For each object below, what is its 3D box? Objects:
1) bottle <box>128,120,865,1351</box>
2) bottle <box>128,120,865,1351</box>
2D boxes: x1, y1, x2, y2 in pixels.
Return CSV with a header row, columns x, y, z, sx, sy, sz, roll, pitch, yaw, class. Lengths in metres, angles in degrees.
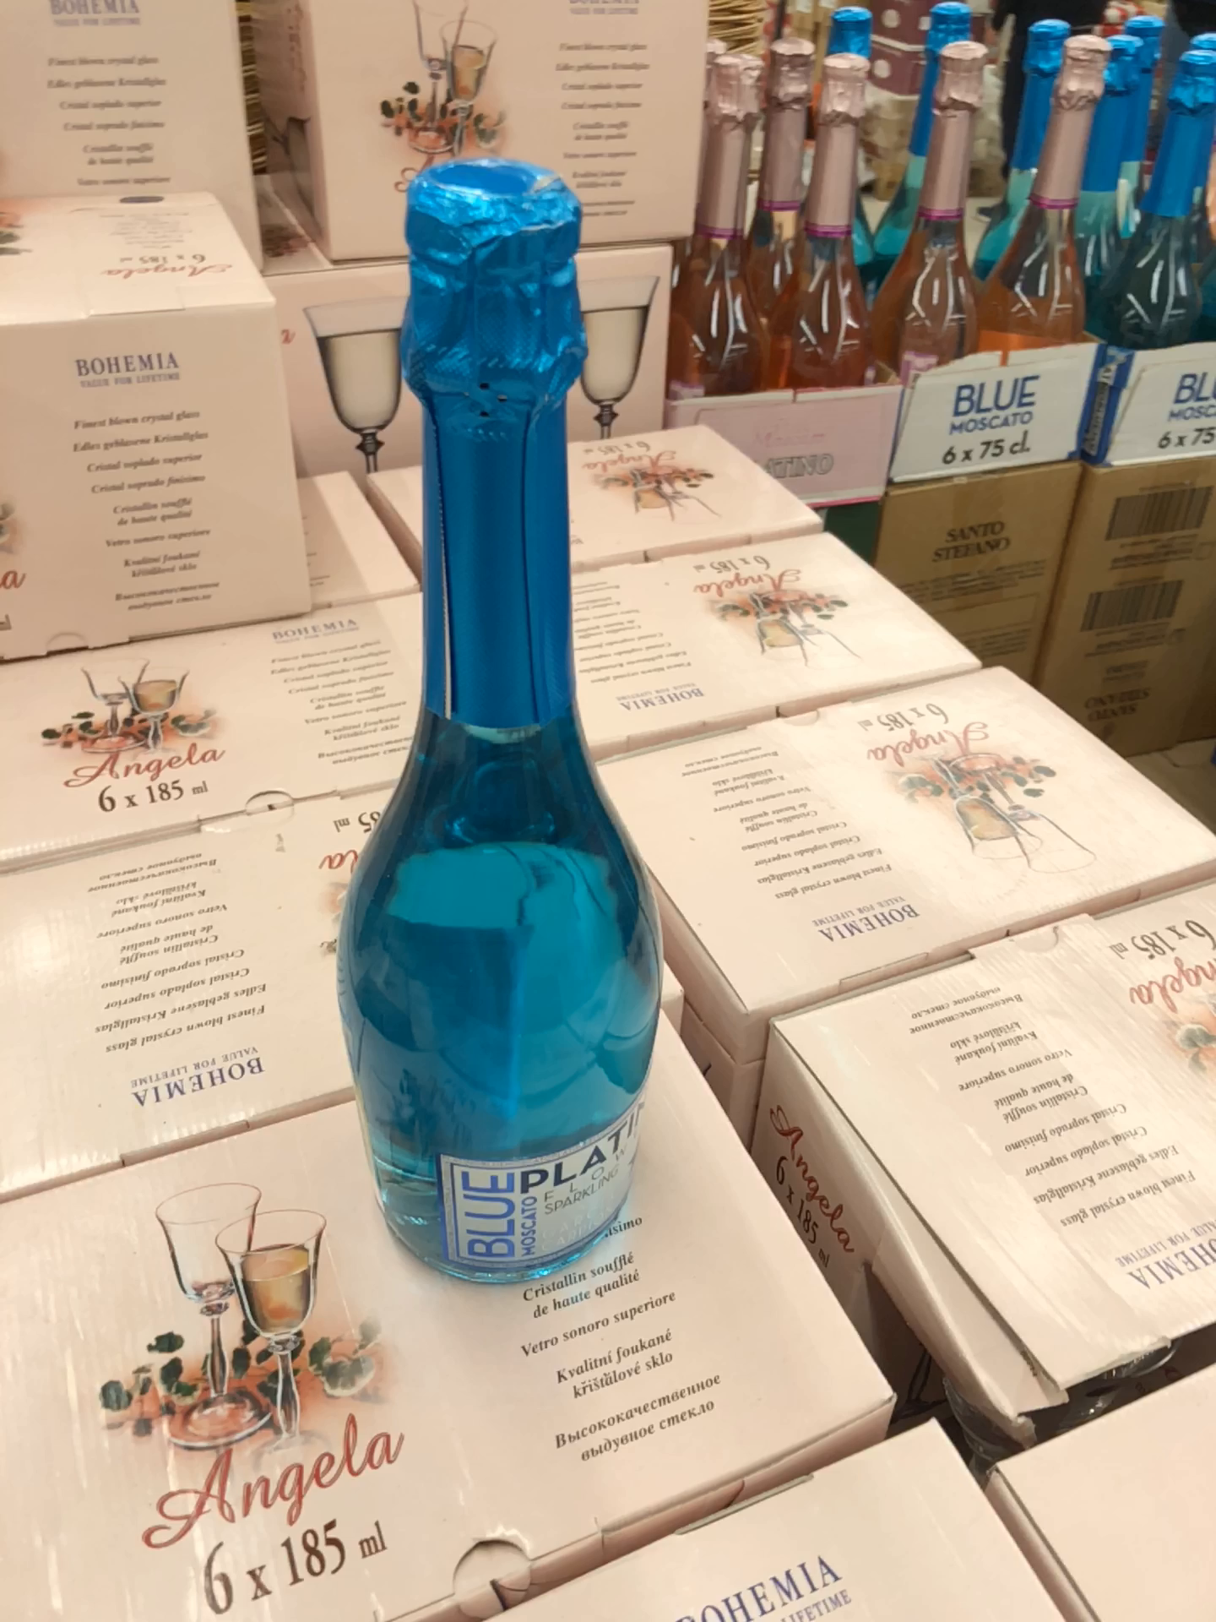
x,y,z,sx,sy,sz,roll,pitch,yaw,class
-0.029,-0.006,0.337,0.100,0.278,0.100,2,37,-2,bottle
-0.029,-0.006,0.337,0.100,0.278,0.100,2,37,-2,bottle
